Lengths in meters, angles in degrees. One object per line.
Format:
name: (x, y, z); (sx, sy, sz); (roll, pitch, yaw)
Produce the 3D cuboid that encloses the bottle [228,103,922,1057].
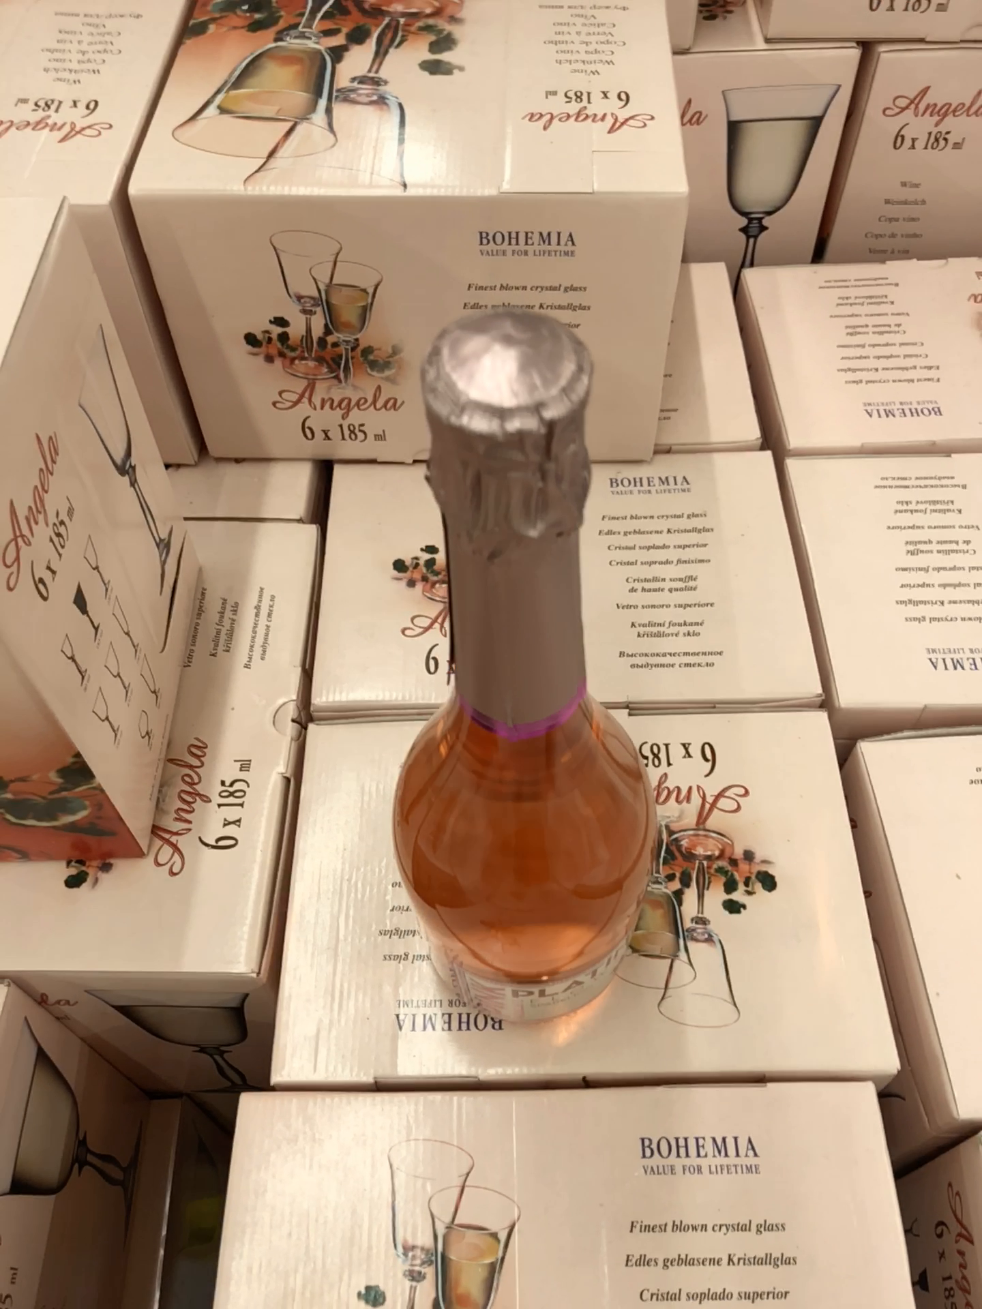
bottle: (0.012, 0.018, 0.332); (0.100, 0.309, 0.100); (0, 56, 1)
